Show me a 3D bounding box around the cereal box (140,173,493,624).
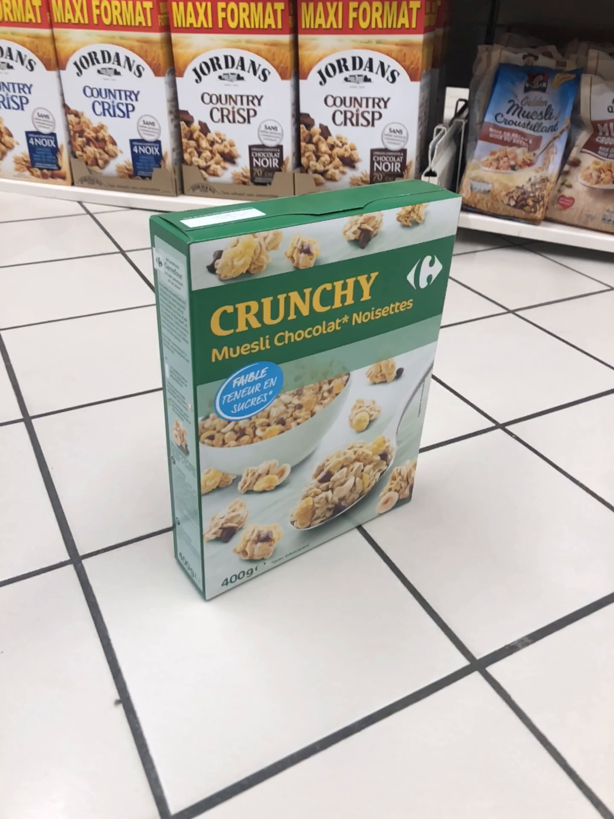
[{"bbox_3d":[0.008,-0.009,0.440,0.201,0.248,0.060,-19,38,-31],"label":"cereal box"}]
